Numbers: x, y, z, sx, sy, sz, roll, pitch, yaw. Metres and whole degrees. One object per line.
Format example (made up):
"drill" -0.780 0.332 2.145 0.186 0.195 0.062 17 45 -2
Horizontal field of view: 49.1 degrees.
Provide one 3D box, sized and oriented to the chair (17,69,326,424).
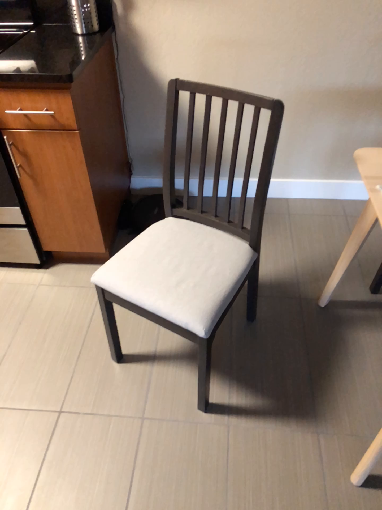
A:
"chair" -0.018 -0.039 1.376 0.581 0.846 0.592 22 46 24
